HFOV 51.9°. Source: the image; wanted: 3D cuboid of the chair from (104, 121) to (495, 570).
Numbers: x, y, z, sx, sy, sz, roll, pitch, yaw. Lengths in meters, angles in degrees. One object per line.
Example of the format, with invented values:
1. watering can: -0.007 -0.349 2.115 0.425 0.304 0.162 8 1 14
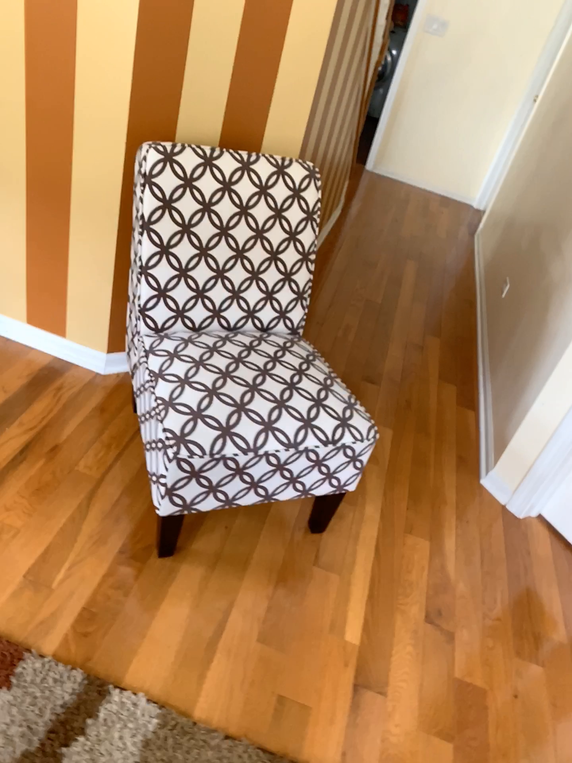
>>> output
1. chair: -0.082 -0.115 1.516 0.622 0.774 0.740 -1 37 -24
